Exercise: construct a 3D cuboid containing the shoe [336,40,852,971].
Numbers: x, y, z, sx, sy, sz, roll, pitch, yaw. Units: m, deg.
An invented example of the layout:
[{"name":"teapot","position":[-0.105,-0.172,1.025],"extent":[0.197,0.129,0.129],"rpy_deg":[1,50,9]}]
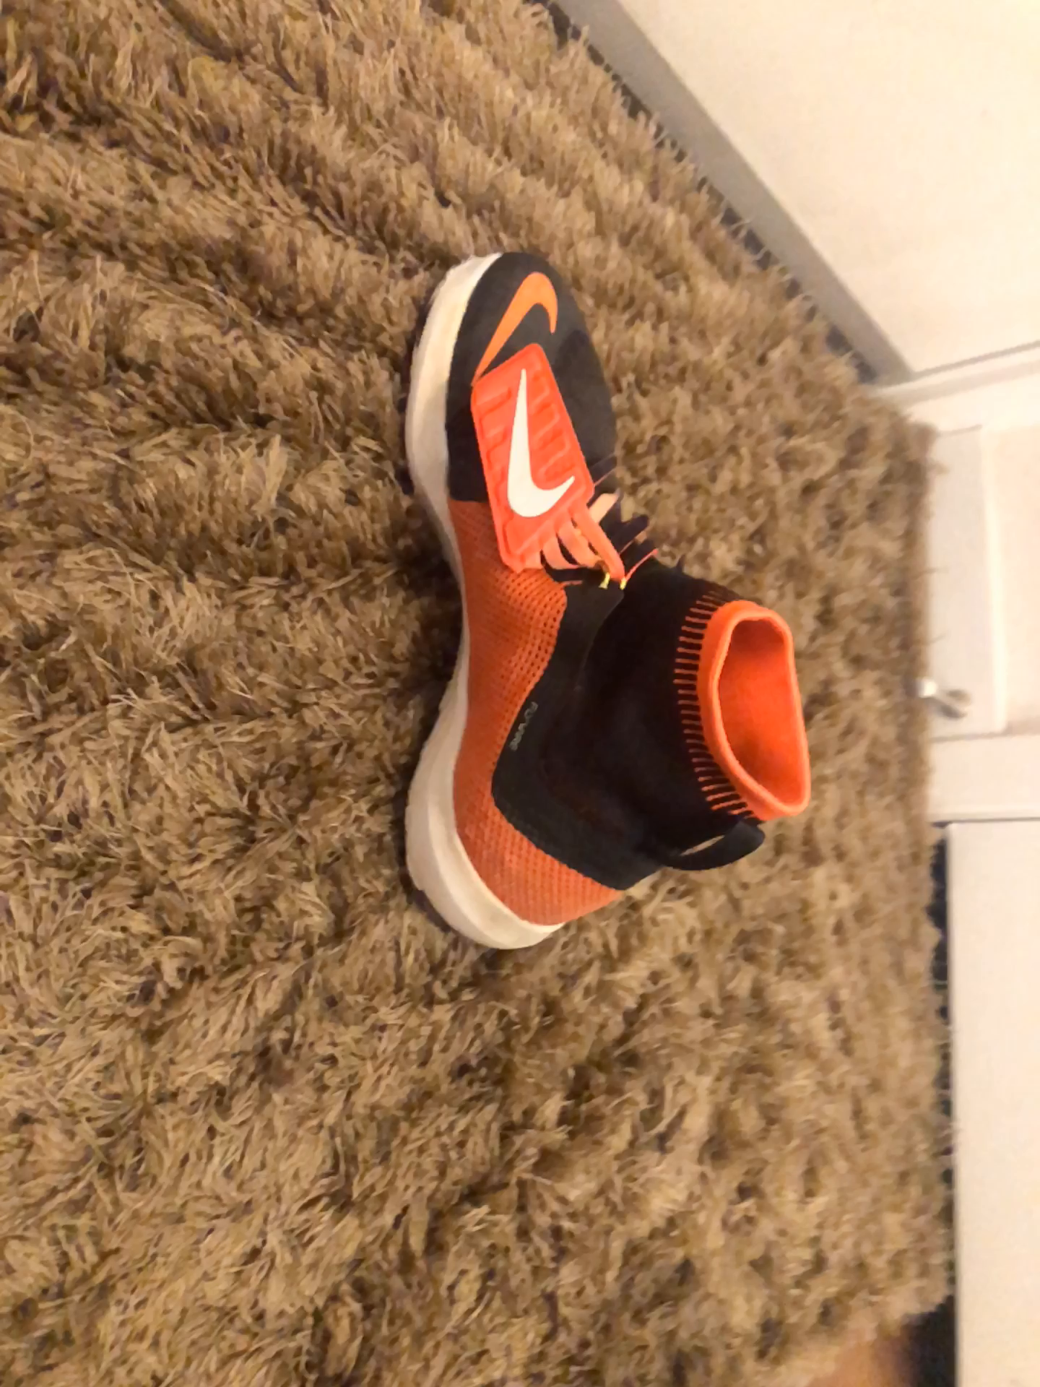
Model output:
[{"name":"shoe","position":[0.036,-0.056,0.436],"extent":[0.111,0.139,0.303],"rpy_deg":[23,66,-50]}]
